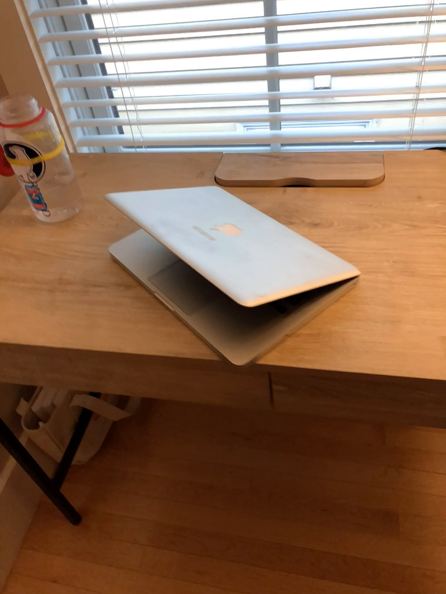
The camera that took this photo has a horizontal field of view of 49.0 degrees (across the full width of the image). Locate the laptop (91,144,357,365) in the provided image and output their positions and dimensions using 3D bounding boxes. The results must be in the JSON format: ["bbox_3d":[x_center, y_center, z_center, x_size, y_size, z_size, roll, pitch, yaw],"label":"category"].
[{"bbox_3d":[-0.008,-0.081,0.666,0.210,0.082,0.300,-34,50,-22],"label":"laptop"}]
